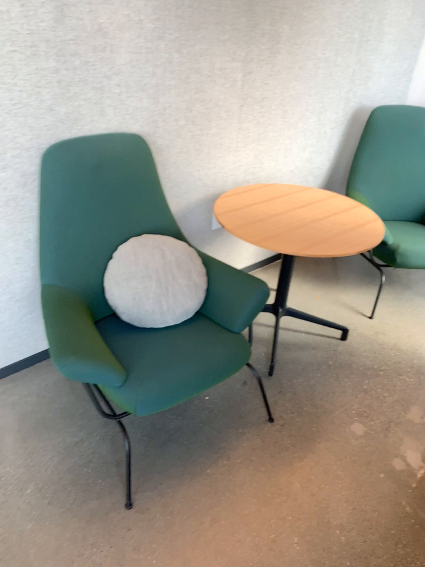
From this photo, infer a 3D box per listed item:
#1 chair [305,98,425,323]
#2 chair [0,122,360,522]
[{"bbox_3d":[1.180,-0.467,2.569,0.820,0.954,1.006,-1,33,-8],"label":"chair"},{"bbox_3d":[-0.164,0.047,1.686,0.831,1.034,0.854,-20,40,-33],"label":"chair"}]
